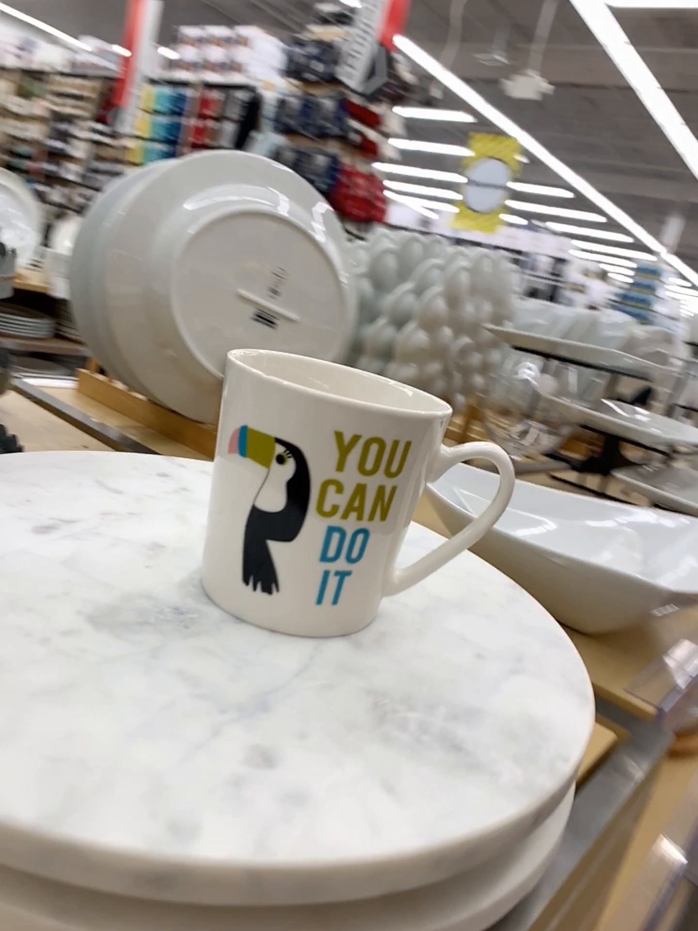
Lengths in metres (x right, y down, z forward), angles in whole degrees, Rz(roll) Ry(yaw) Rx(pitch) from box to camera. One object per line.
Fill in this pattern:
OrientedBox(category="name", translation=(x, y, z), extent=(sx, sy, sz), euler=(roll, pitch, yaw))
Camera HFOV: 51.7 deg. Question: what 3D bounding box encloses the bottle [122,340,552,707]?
OrientedBox(category="bottle", translation=(-0.006, 0.017, 0.328), extent=(0.143, 0.107, 0.104), euler=(15, 13, -2))
